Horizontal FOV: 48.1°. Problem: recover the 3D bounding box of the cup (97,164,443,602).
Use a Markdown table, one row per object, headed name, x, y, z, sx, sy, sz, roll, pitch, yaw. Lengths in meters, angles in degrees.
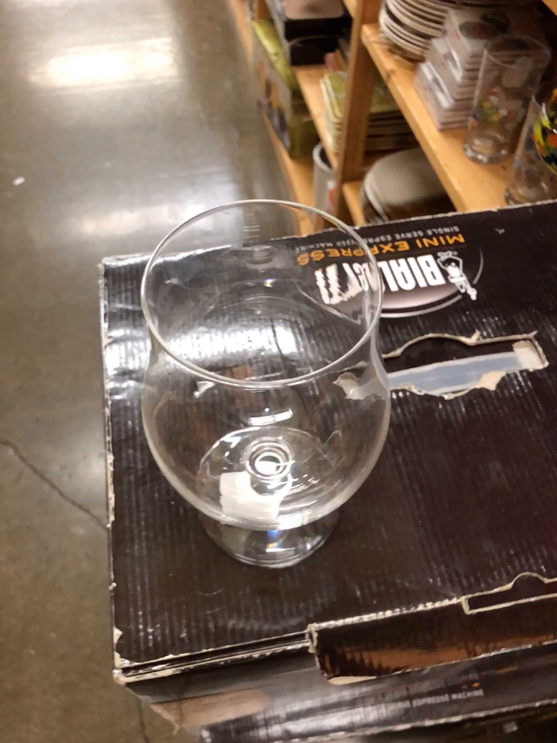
| name | x | y | z | sx | sy | sz | roll | pitch | yaw |
| --- | --- | --- | --- | --- | --- | --- | --- | --- | --- |
| cup | -0.008 | 0.016 | 0.228 | 0.079 | 0.145 | 0.082 | 0 | 55 | 0 |
